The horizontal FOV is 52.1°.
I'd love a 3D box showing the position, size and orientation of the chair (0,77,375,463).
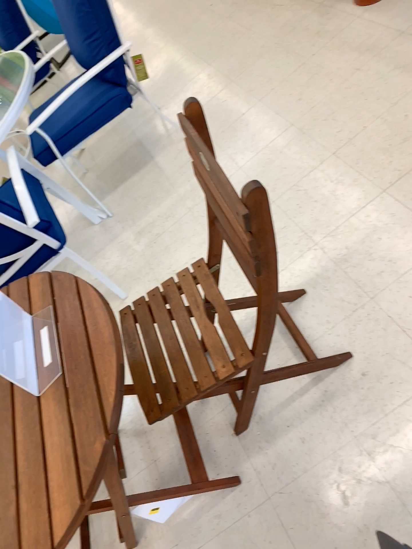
[{"bbox_3d":[-0.019,0.073,1.070,0.550,0.776,0.442,-37,48,8],"label":"chair"}]
